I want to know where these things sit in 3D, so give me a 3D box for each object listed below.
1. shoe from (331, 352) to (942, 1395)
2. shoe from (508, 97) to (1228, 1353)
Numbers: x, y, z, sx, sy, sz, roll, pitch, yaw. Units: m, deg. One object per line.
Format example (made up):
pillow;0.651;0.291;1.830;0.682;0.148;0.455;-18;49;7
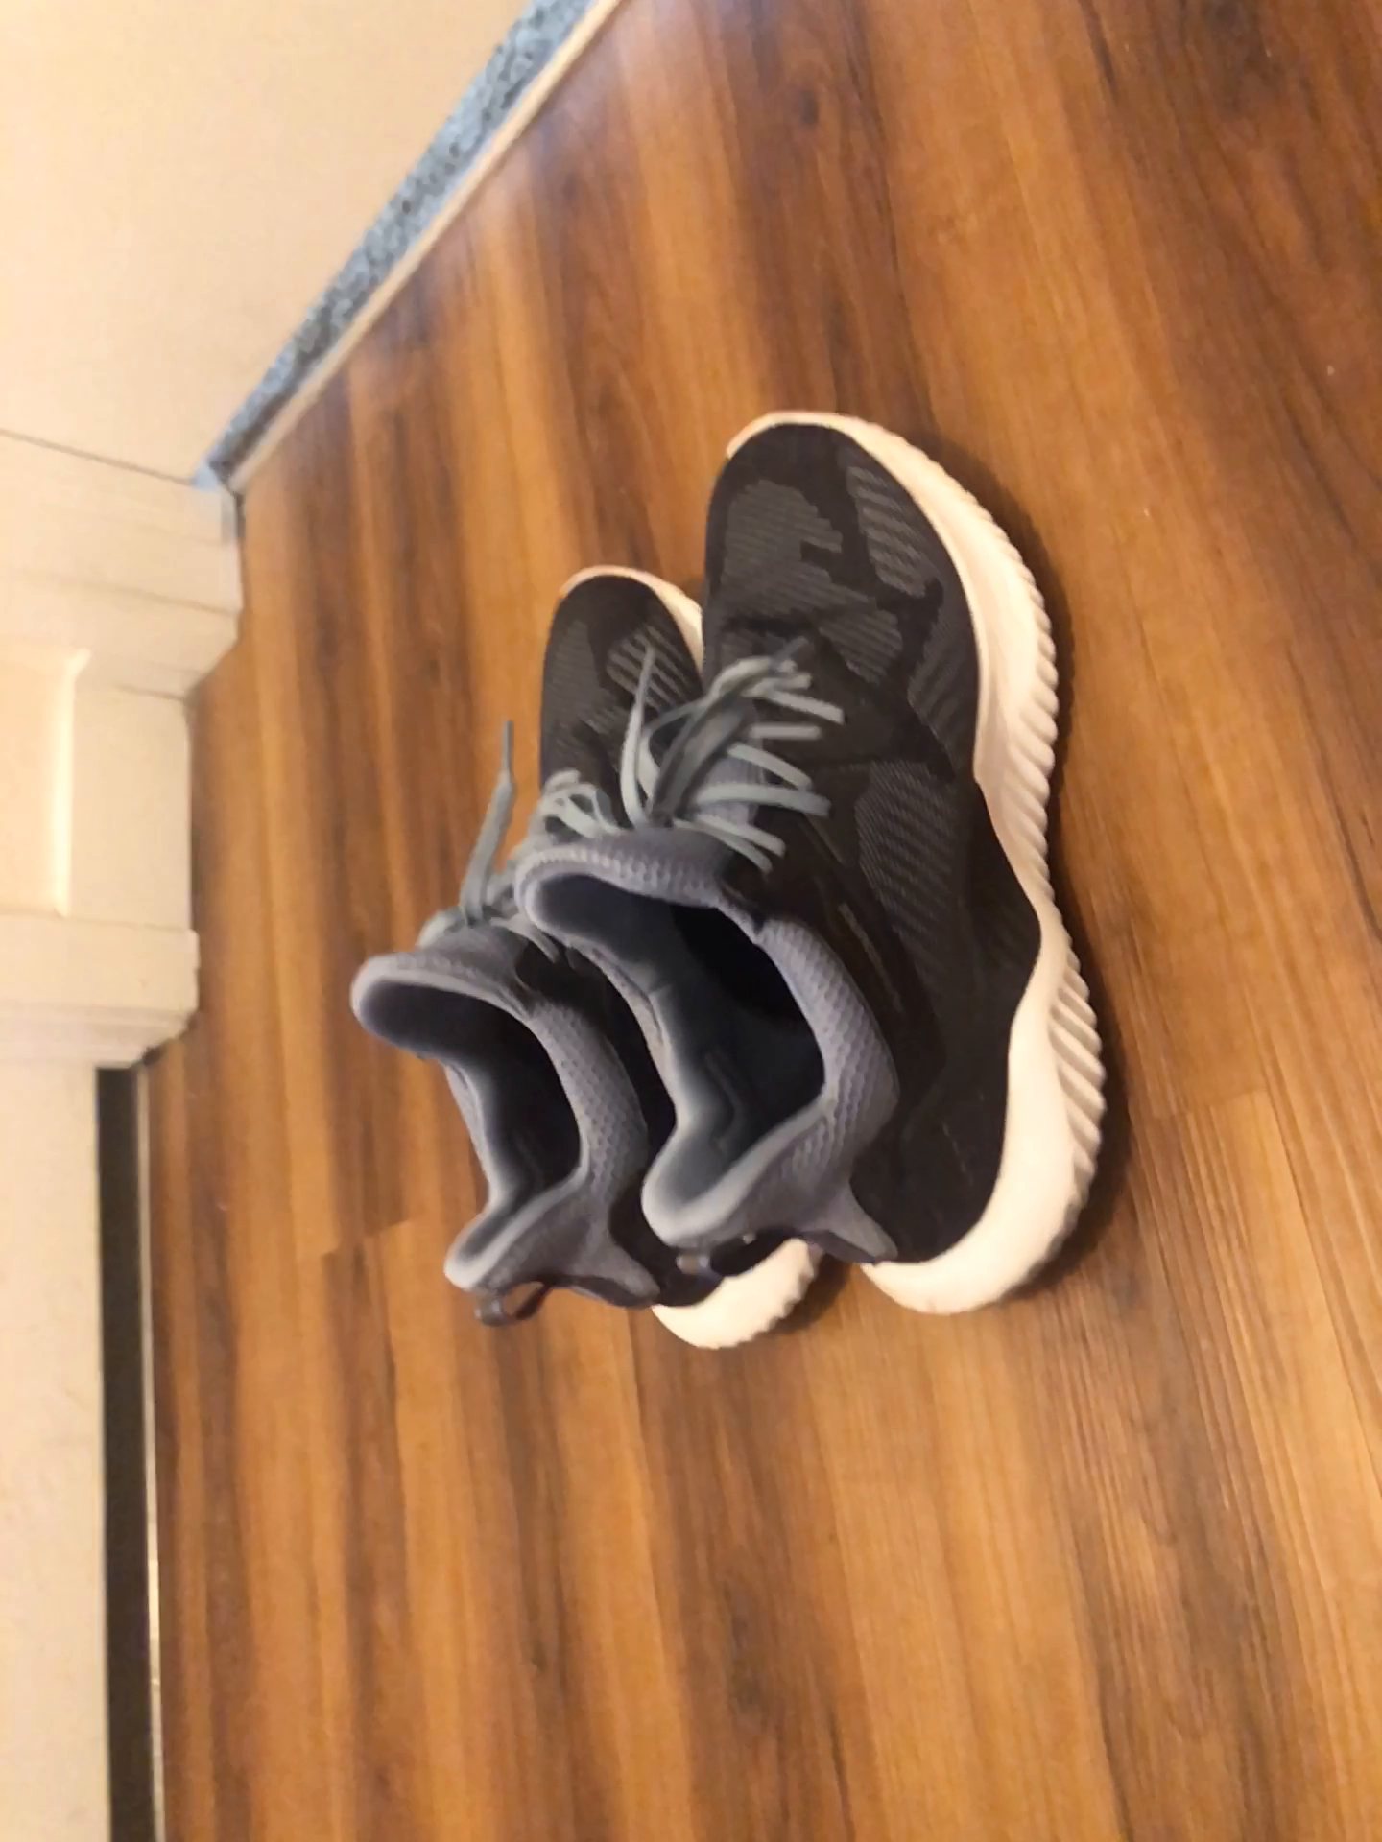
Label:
shoe;-0.031;-0.011;0.564;0.133;0.134;0.333;-27;64;46
shoe;0.043;-0.047;0.474;0.132;0.130;0.334;-22;68;48
